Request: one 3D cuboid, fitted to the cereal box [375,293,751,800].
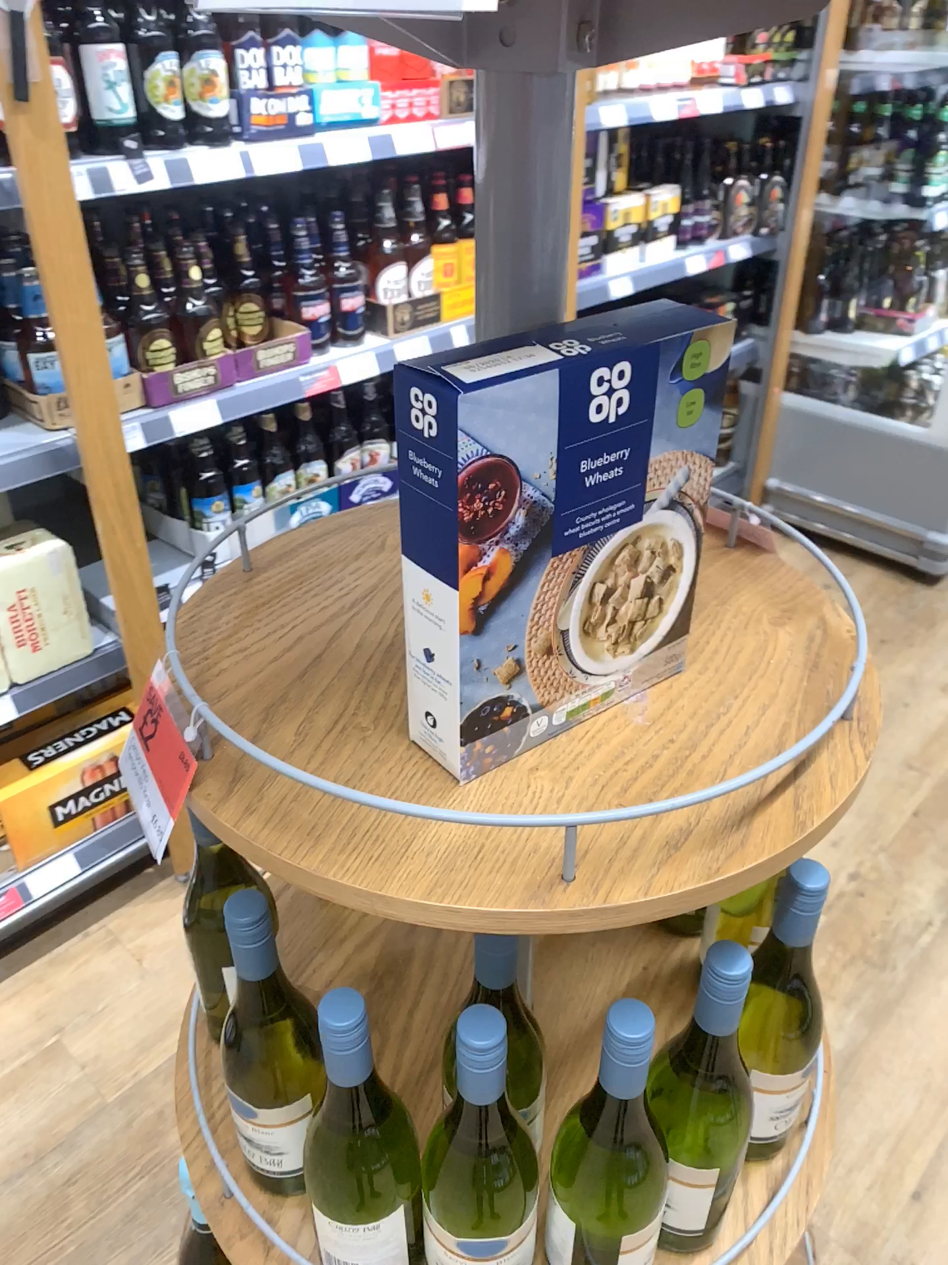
[{"bbox_3d":[0.051,-0.052,0.545,0.201,0.228,0.060,-24,39,-32],"label":"cereal box"}]
